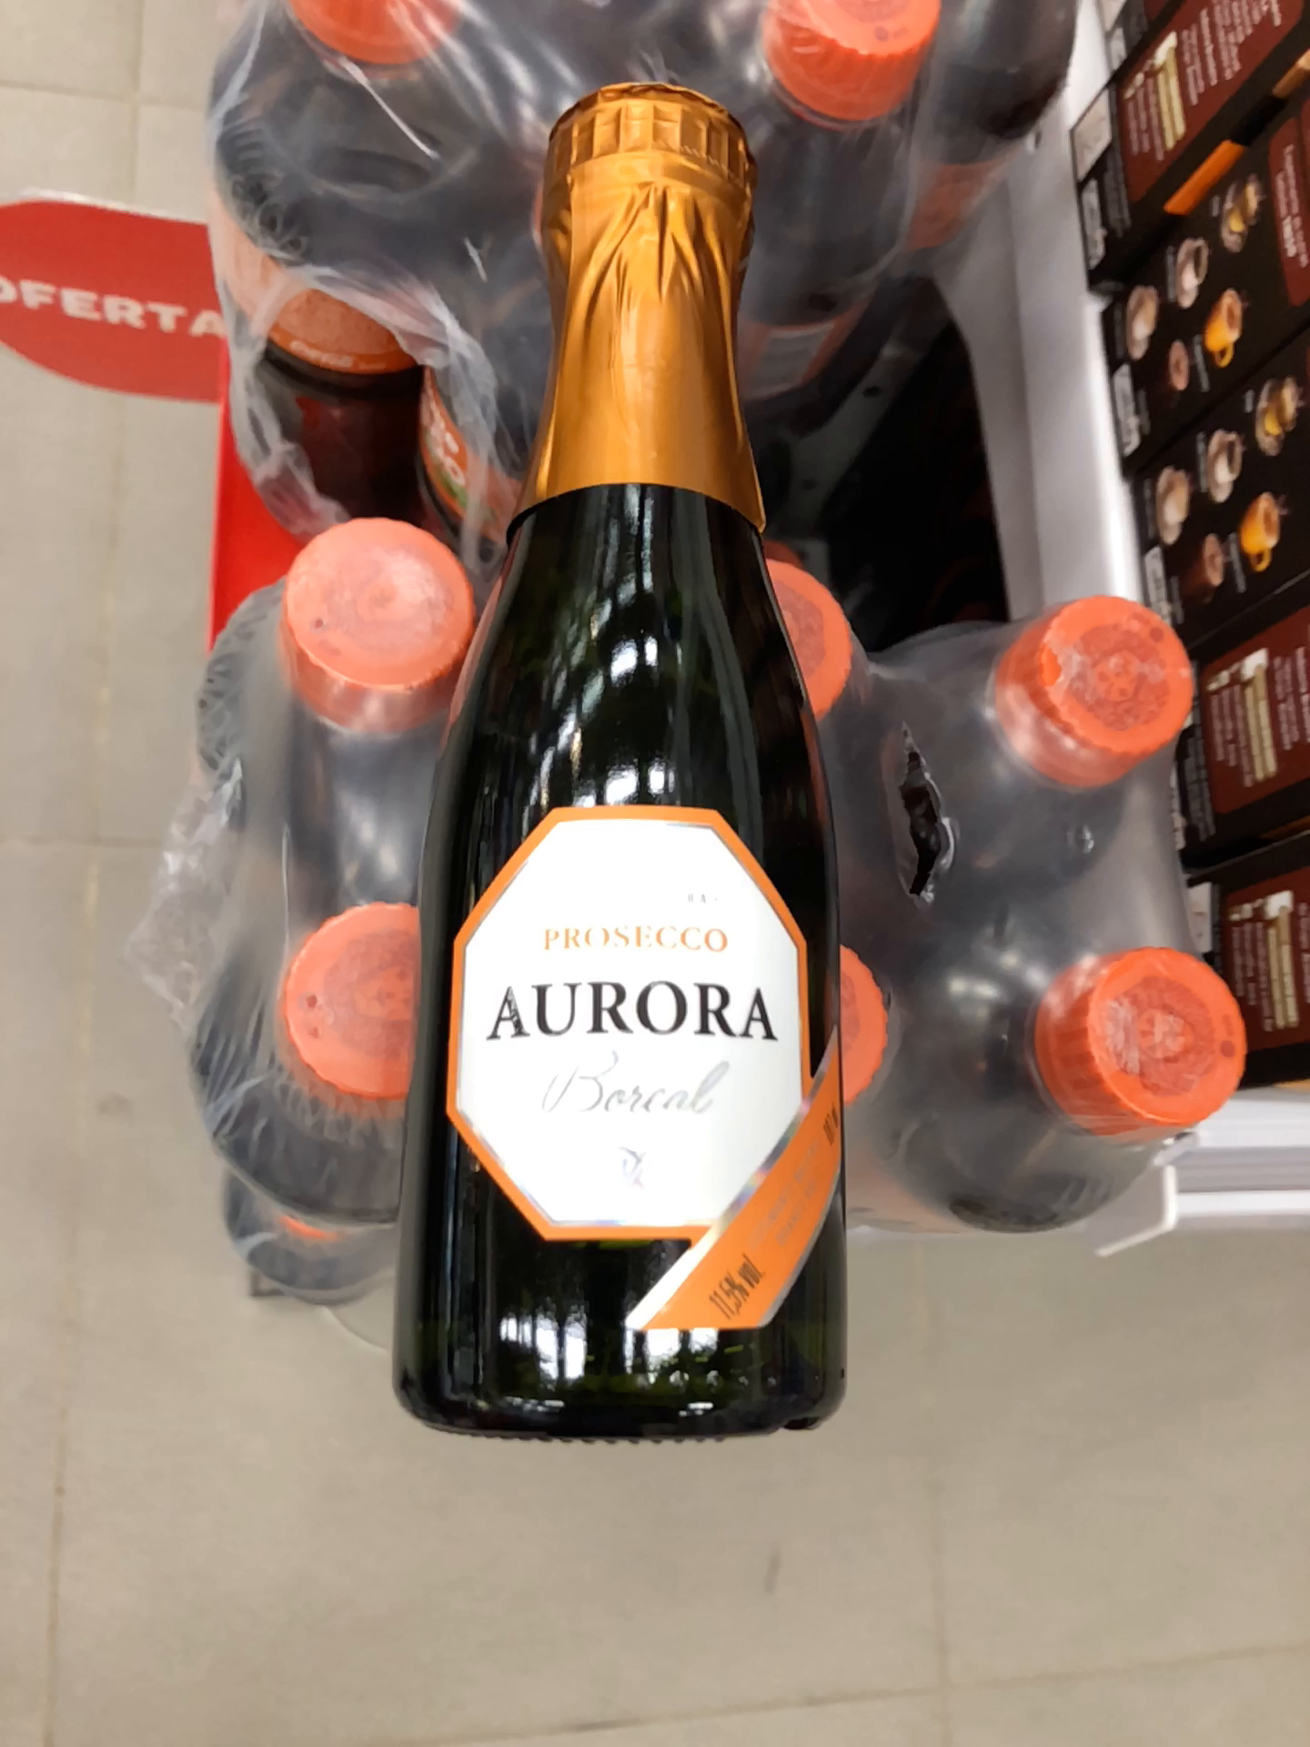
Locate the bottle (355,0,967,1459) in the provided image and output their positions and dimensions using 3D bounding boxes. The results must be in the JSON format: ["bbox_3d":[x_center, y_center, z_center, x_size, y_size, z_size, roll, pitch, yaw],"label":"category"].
[{"bbox_3d":[-0.001,-0.027,0.185,0.060,0.050,0.180,4,78,-13],"label":"bottle"}]
